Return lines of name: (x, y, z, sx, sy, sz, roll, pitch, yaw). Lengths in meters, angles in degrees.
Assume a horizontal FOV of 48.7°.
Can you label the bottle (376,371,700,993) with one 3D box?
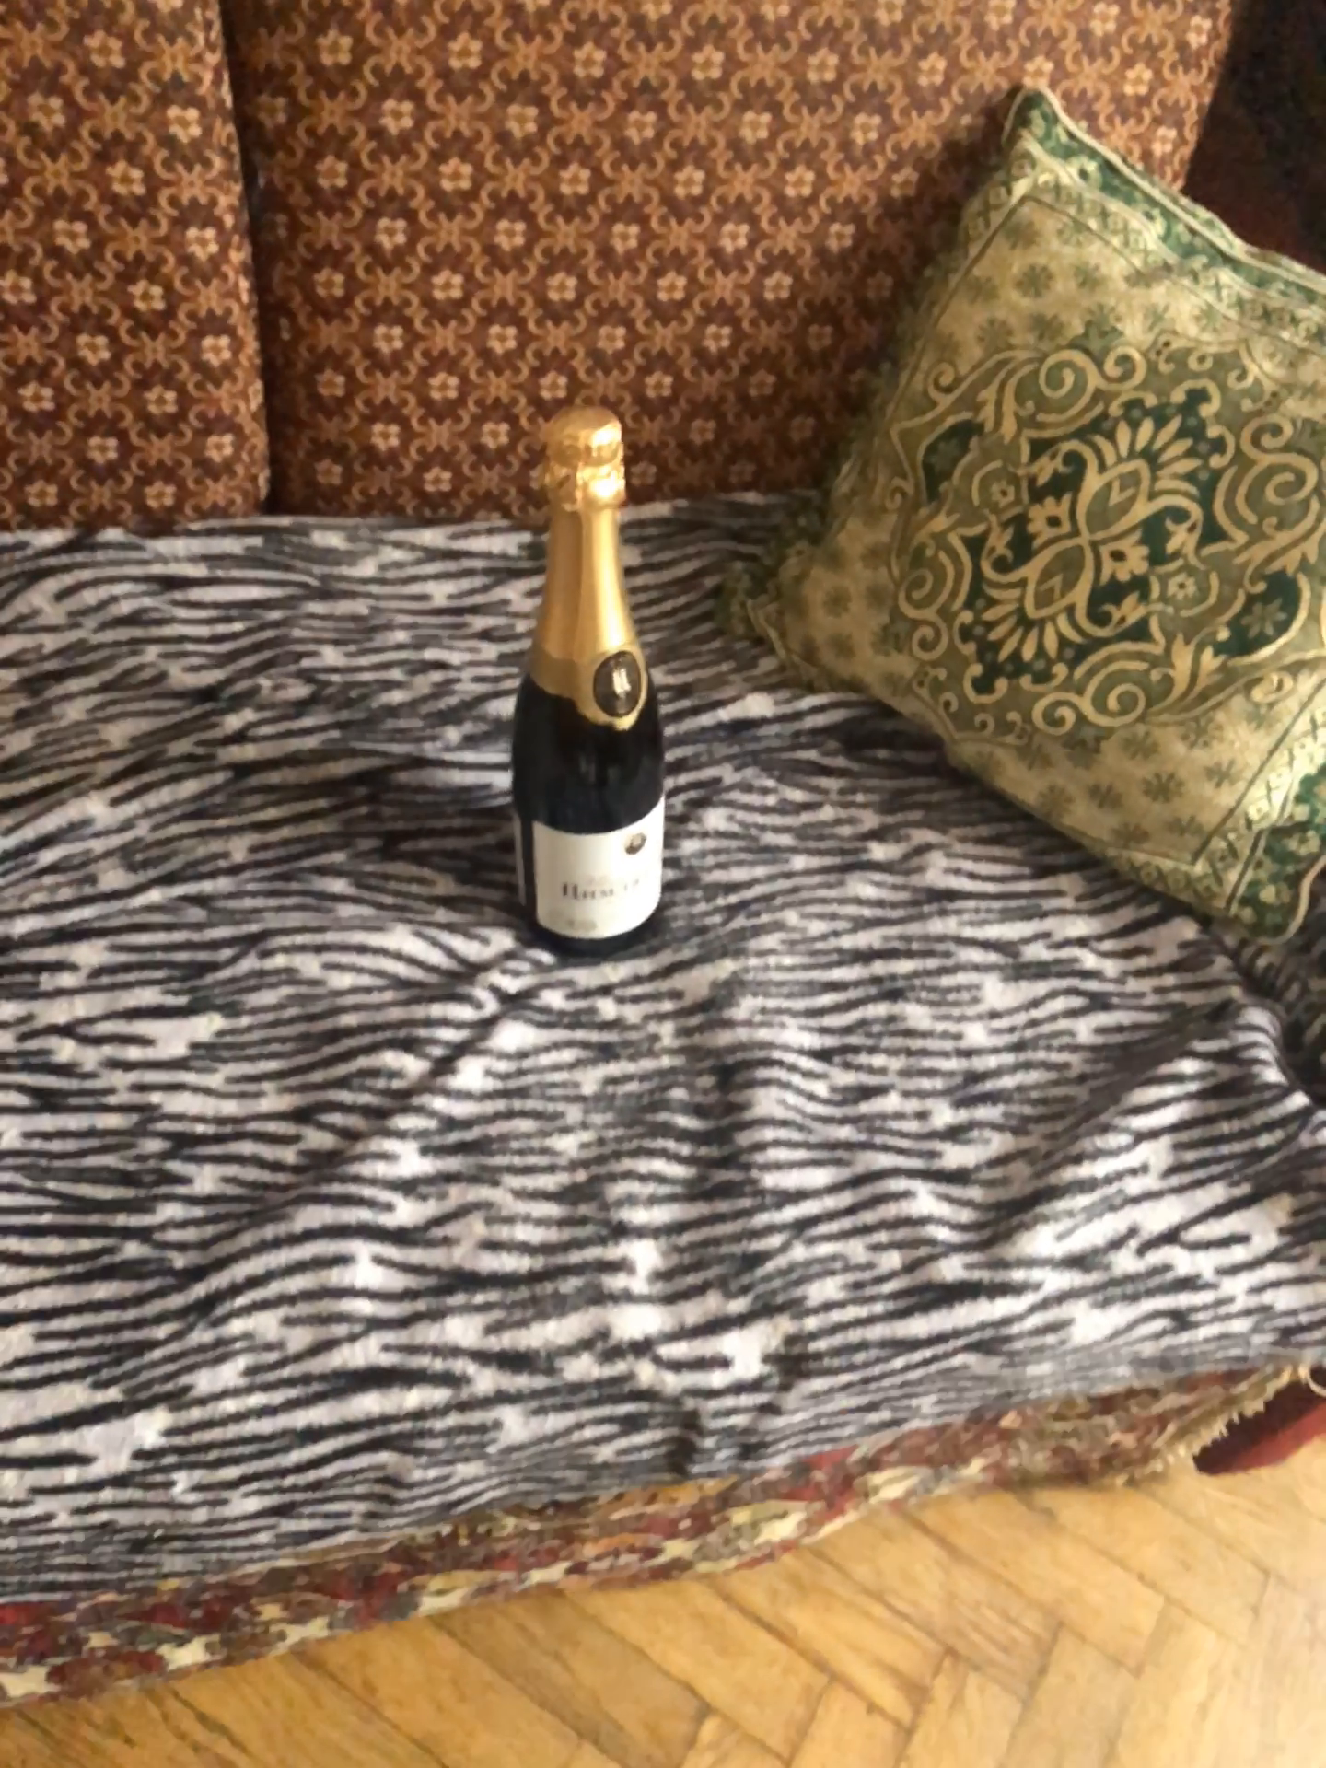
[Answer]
bottle: (-0.055, -0.087, 0.719, 0.100, 0.278, 0.100, 0, 48, 0)
